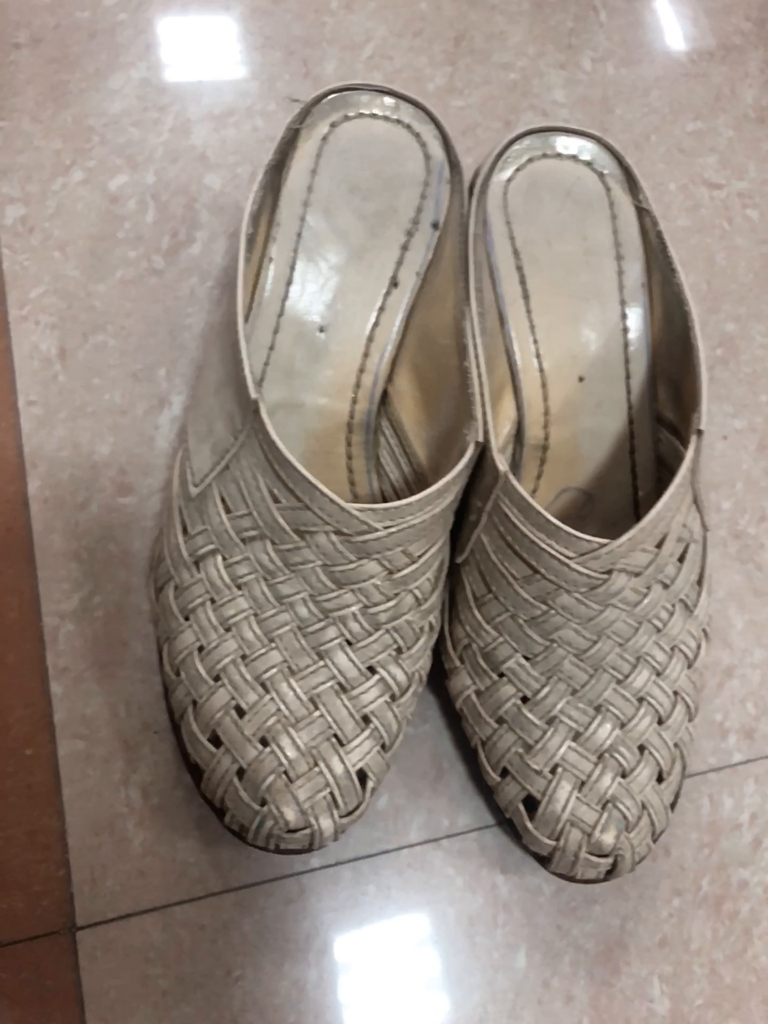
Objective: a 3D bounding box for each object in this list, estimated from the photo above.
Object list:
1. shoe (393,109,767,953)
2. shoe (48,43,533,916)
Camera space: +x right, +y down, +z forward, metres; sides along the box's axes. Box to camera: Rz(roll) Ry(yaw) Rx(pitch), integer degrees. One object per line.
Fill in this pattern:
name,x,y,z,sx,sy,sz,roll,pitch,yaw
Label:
shoe,0.069,-0.001,0.266,0.100,0.085,0.221,-4,74,-9
shoe,-0.018,-0.010,0.261,0.100,0.085,0.225,6,73,-6
